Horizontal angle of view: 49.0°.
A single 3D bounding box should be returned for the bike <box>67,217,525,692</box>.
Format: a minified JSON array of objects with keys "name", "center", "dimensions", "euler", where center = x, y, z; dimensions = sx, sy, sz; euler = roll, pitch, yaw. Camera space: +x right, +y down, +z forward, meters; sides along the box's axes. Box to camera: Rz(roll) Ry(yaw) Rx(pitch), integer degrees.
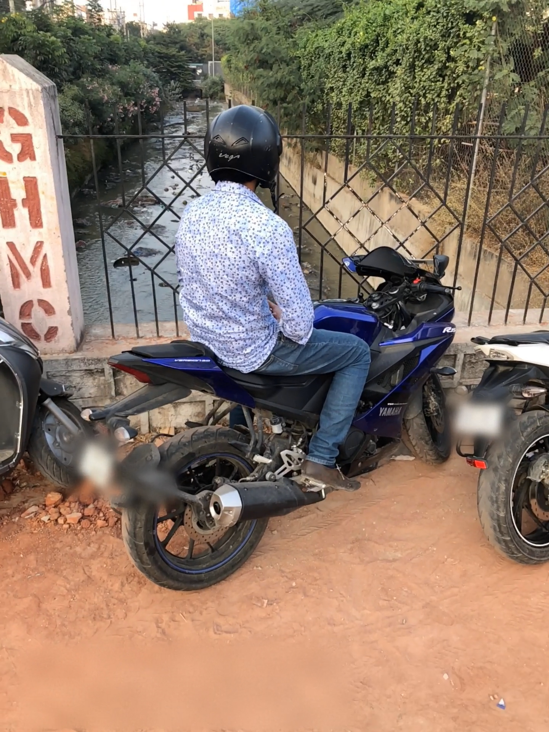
[{"name":"bike","center":[0.232,0.122,2.568],"dimensions":[0.732,0.995,1.951],"euler":[22,35,37]}]
